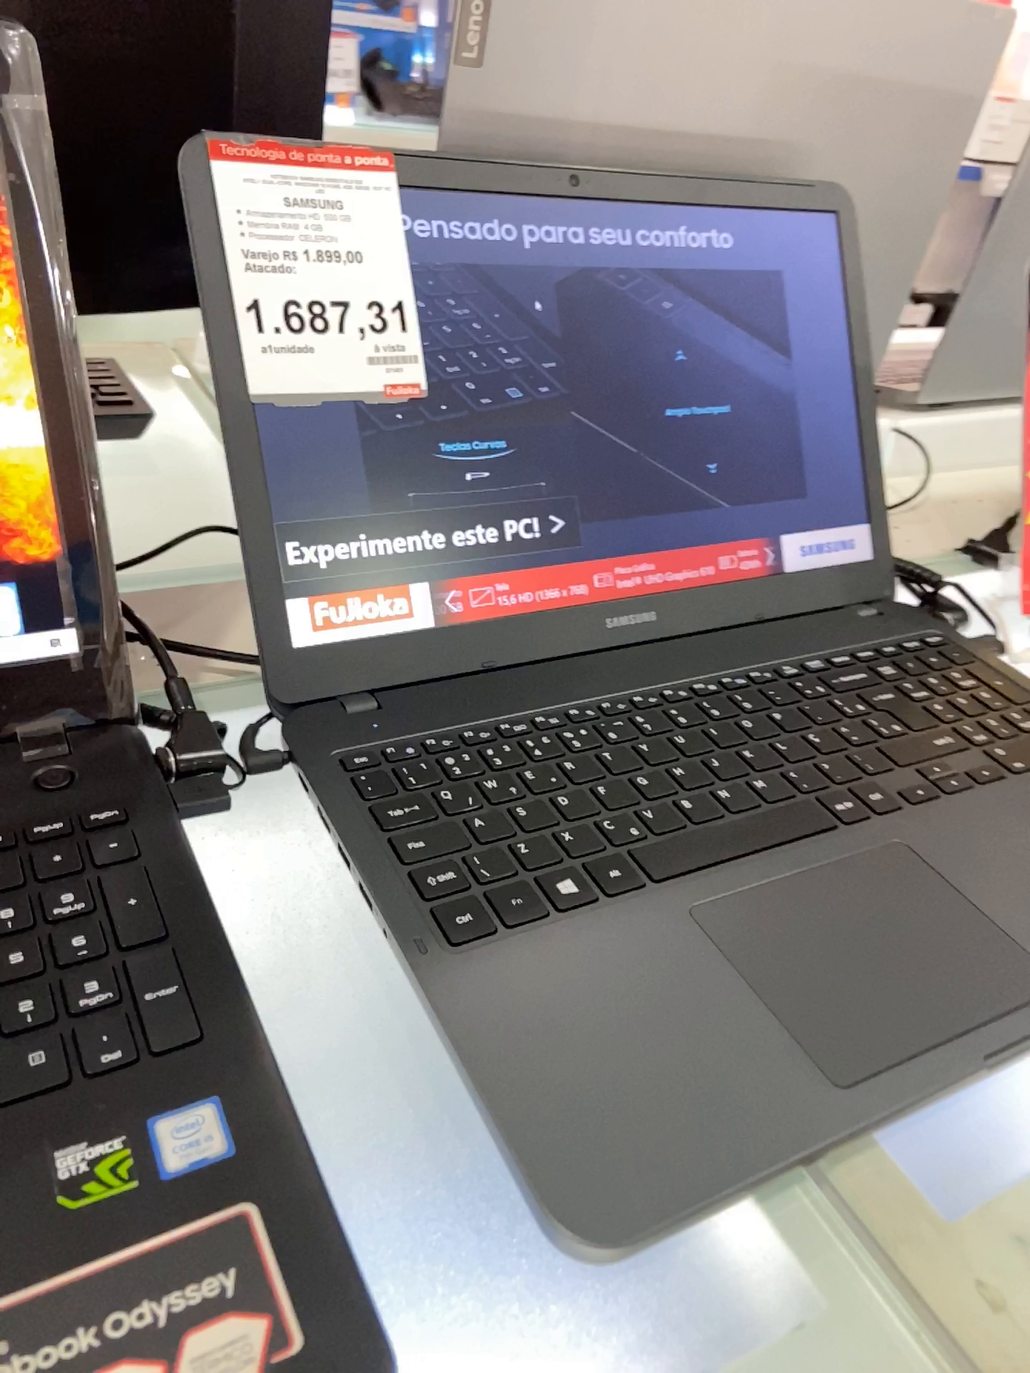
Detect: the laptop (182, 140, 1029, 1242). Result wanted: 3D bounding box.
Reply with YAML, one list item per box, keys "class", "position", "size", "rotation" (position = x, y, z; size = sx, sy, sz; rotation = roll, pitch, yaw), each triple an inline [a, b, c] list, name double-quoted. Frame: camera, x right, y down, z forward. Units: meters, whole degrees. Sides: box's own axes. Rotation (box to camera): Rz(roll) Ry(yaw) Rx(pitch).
- class: "laptop"
  position: [0.100, -0.071, 0.431]
  size: [0.367, 0.196, 0.371]
  rotation: [-11, 37, -27]
